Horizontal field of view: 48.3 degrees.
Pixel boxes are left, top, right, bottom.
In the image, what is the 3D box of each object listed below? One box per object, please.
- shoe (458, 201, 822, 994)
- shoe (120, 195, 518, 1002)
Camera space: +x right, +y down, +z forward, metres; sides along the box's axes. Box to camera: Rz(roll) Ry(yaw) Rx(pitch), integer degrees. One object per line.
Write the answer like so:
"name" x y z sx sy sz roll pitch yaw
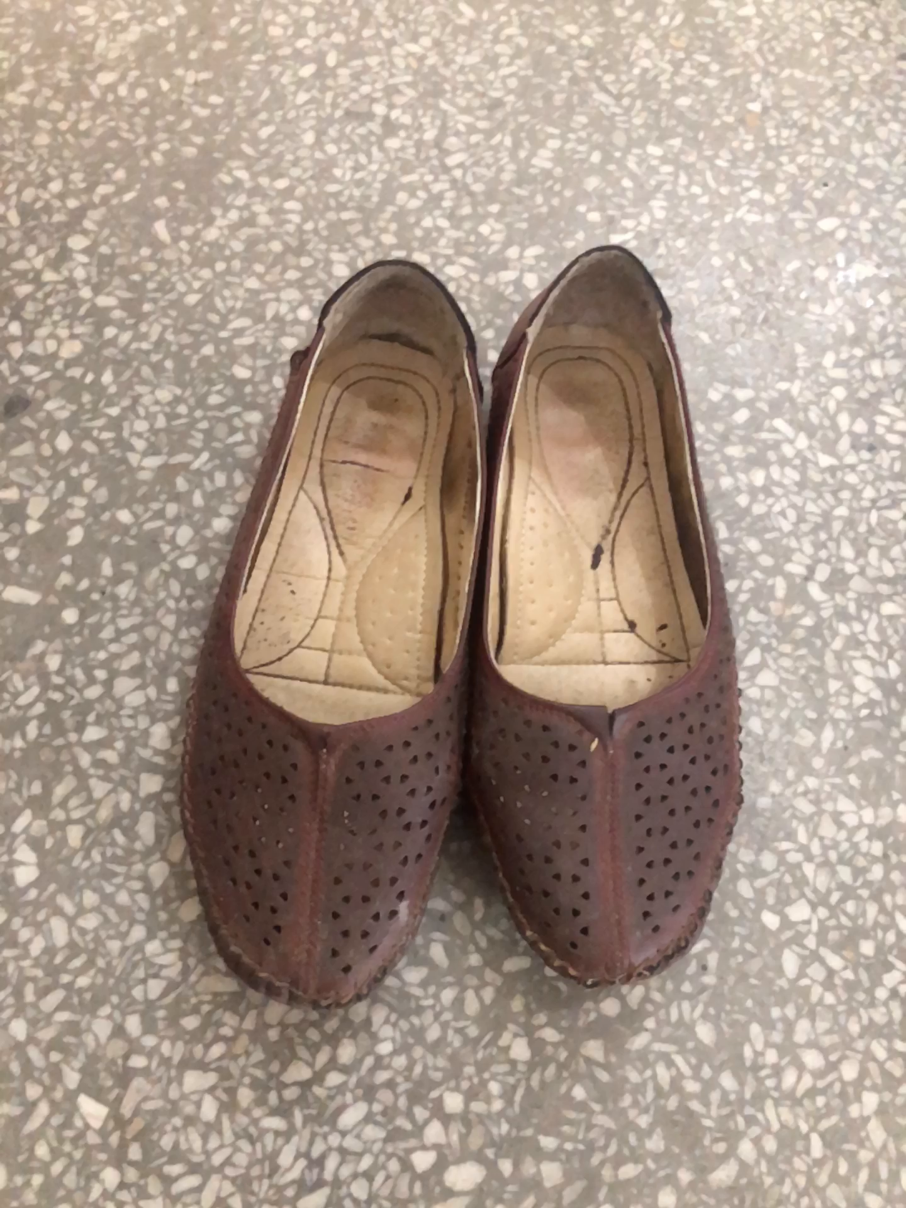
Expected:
"shoe" 0.049 -0.008 0.329 0.090 0.060 0.250 2 70 -3
"shoe" -0.033 -0.008 0.329 0.090 0.060 0.250 5 69 -2
